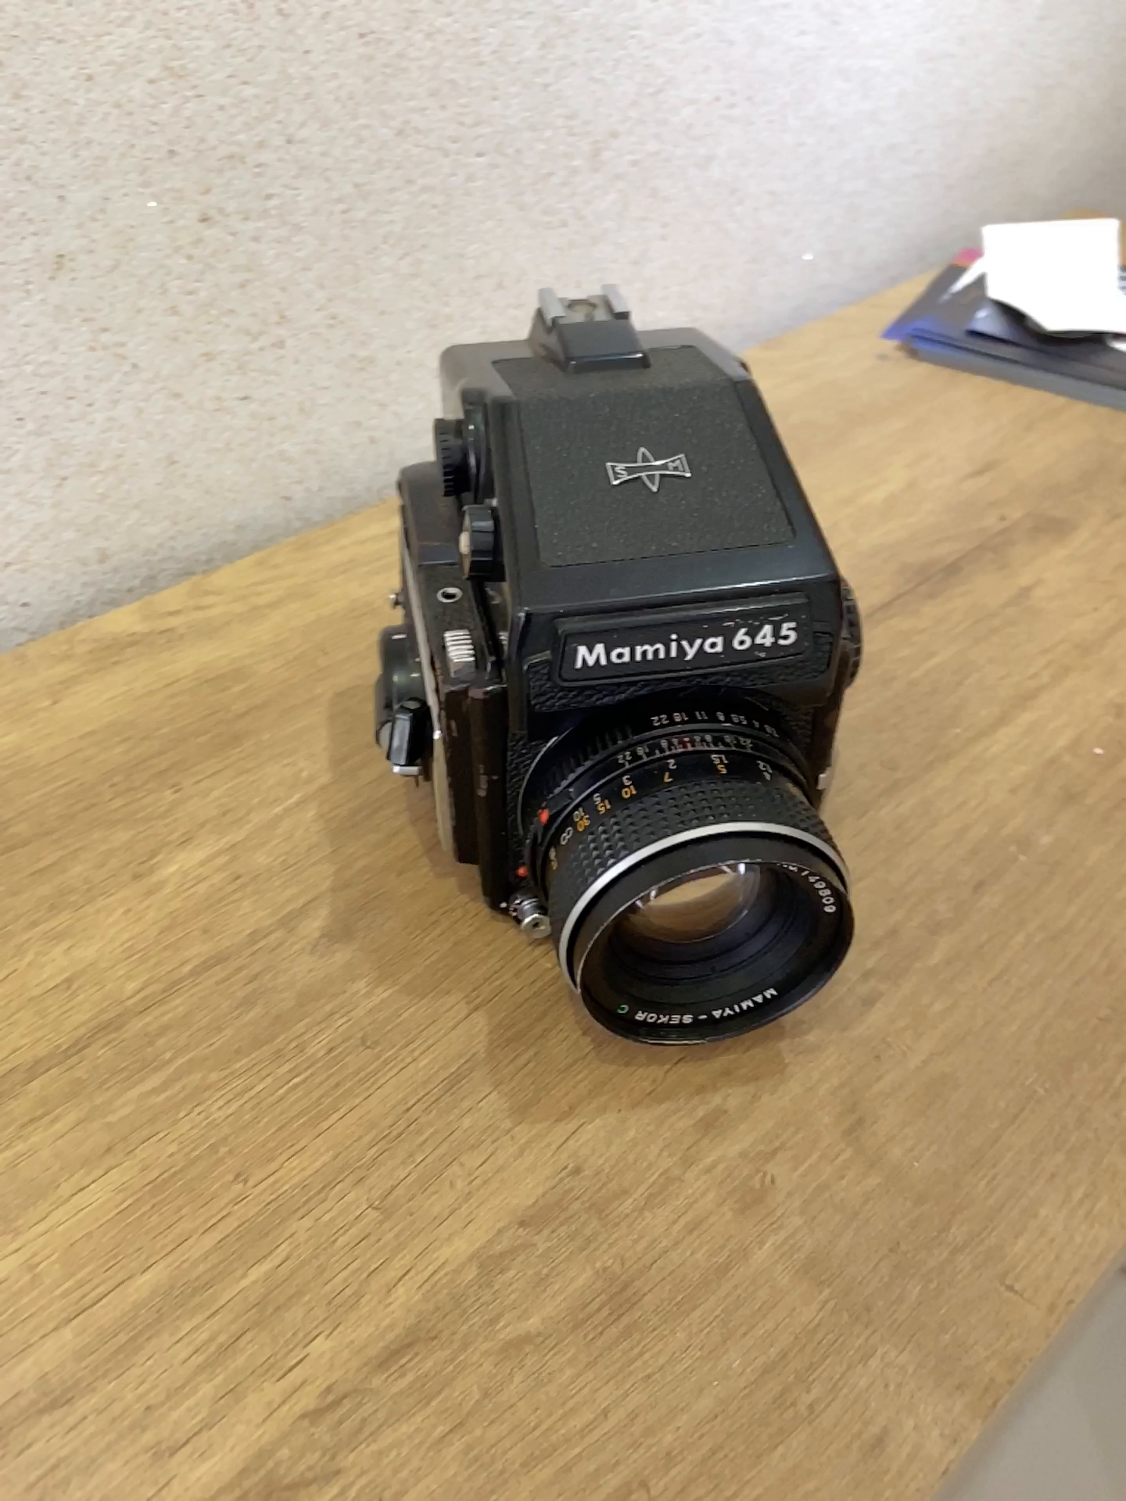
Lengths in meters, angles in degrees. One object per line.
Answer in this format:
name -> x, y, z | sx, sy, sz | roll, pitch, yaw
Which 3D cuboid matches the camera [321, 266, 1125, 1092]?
camera -> 0.017, -0.029, 0.281 | 0.130, 0.109, 0.161 | -7, 41, -7
